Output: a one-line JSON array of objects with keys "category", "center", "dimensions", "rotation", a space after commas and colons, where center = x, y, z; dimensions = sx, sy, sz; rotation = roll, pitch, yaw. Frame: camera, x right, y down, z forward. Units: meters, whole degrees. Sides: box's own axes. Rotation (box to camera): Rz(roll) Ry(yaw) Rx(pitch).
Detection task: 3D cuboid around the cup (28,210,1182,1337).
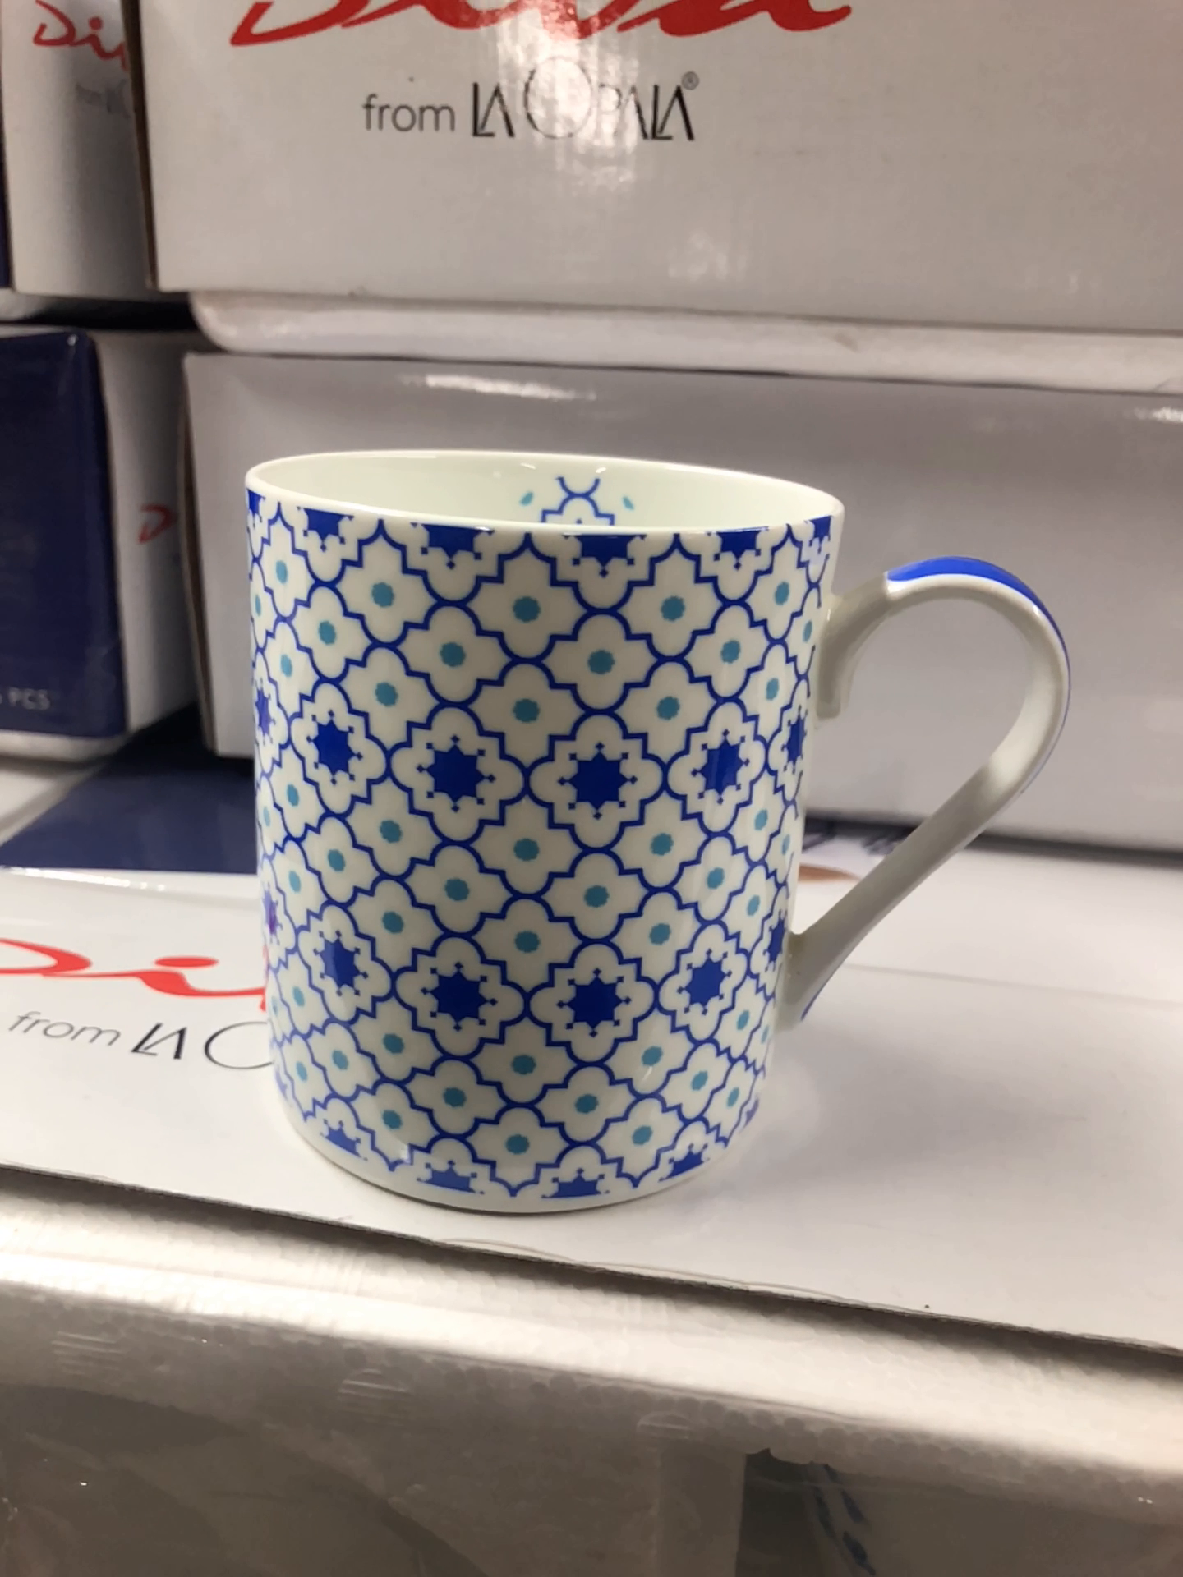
[{"category": "cup", "center": [0.015, -0.010, 0.130], "dimensions": [0.100, 0.080, 0.070], "rotation": [4, 21, 5]}]
